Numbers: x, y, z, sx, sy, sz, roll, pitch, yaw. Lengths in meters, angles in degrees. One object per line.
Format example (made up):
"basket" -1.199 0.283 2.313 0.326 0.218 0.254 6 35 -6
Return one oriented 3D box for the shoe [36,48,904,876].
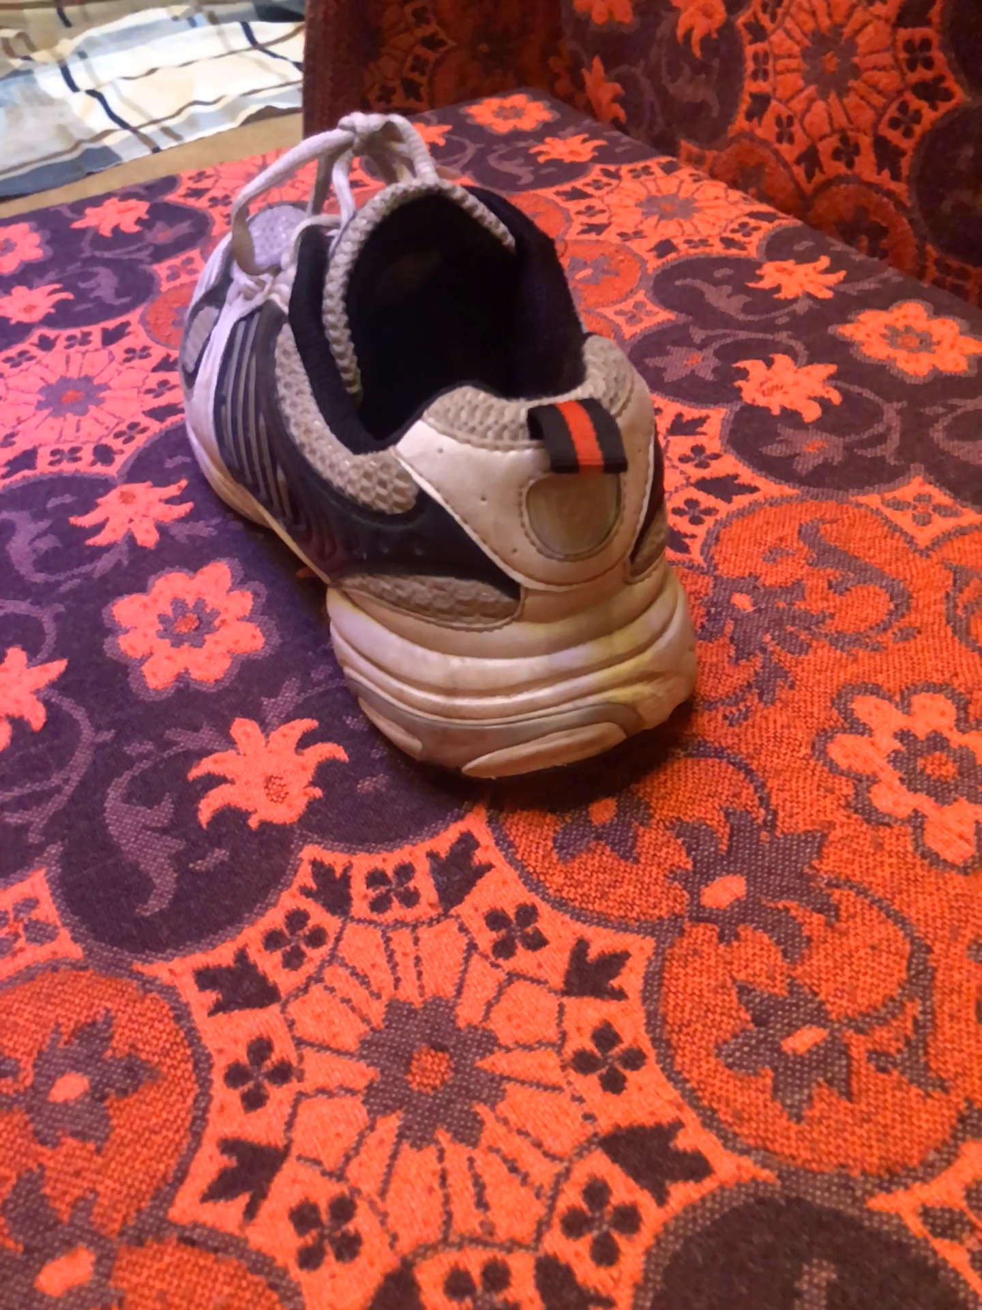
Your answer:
"shoe" -0.037 -0.095 0.342 0.120 0.090 0.311 -22 46 -18
